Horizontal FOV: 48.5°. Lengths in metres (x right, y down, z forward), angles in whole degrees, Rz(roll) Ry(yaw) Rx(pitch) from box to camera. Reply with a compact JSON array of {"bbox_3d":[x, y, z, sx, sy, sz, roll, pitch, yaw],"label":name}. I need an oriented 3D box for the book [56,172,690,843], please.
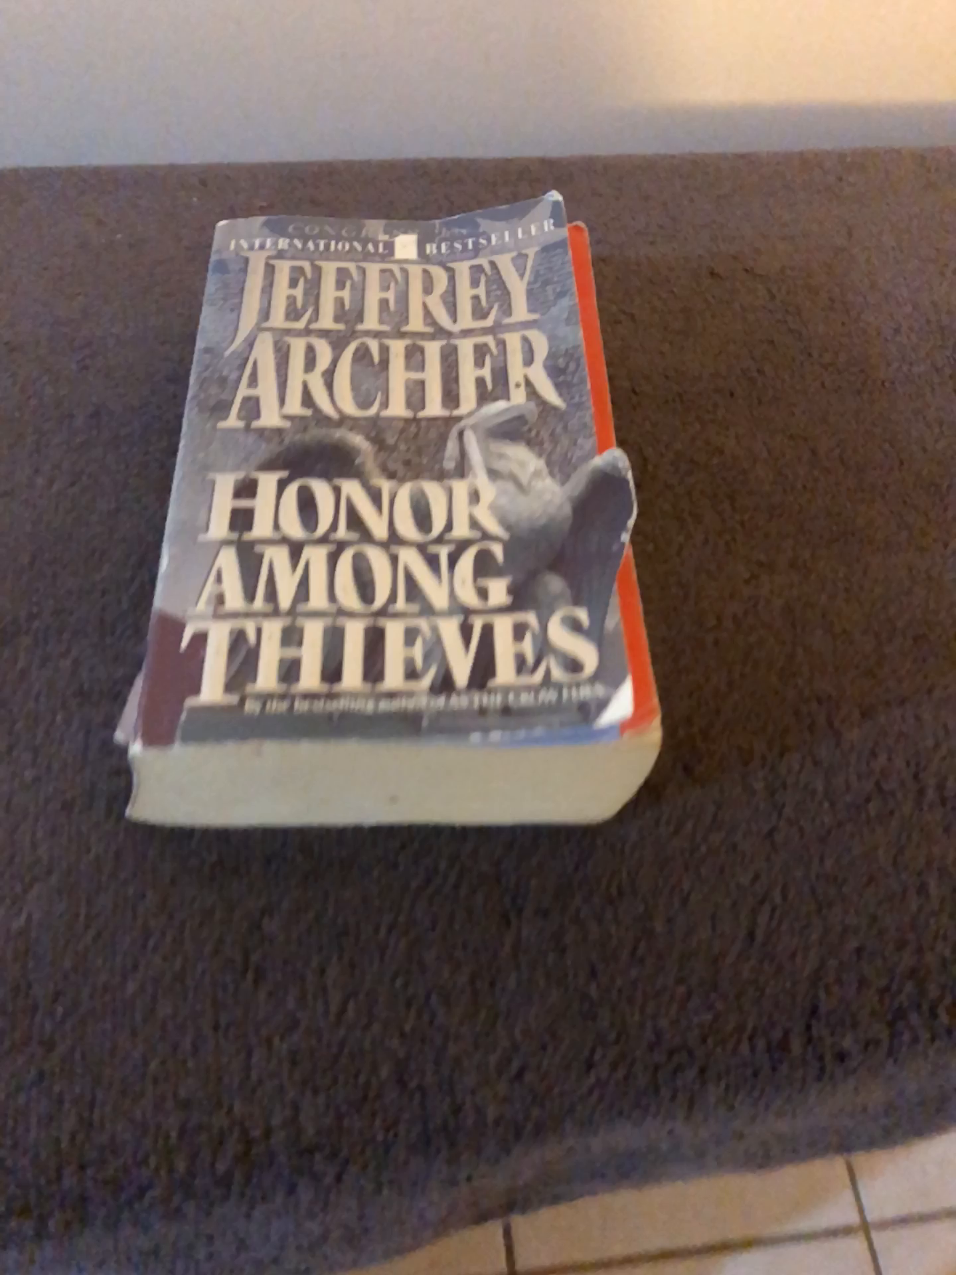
[{"bbox_3d":[-0.023,-0.044,0.273,0.120,0.040,0.191,1,54,-5],"label":"book"}]
